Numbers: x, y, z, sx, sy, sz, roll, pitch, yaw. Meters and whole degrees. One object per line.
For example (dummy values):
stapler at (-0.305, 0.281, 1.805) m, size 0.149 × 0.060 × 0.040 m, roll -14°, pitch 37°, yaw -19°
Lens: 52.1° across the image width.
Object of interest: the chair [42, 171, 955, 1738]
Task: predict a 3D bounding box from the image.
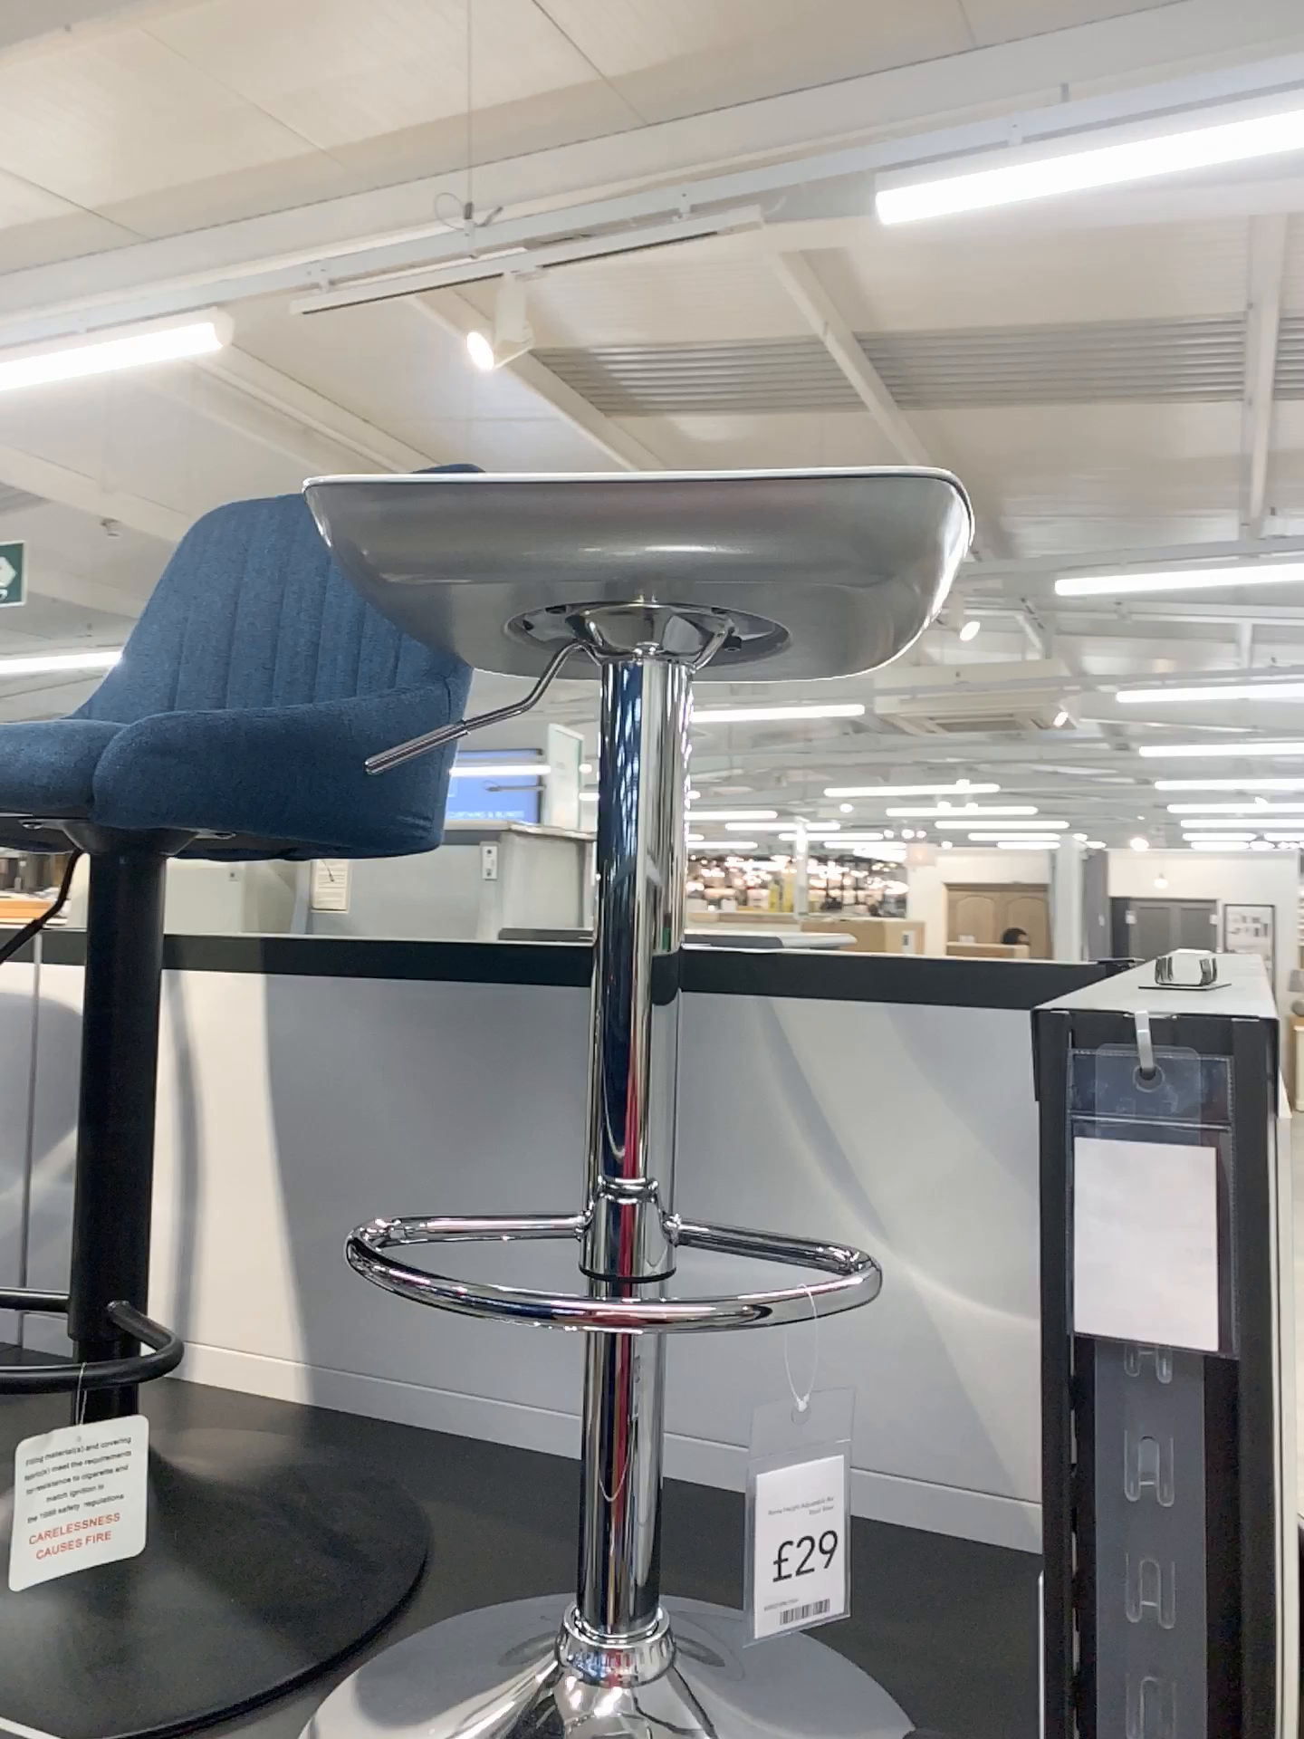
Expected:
chair at (-0.034, 0.105, 0.796) m, size 0.402 × 0.804 × 0.402 m, roll 1°, pitch -3°, yaw 14°

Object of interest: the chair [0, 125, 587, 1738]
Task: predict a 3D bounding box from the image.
chair at (-0.396, 0.051, 0.998) m, size 0.532 × 0.884 × 0.482 m, roll 0°, pitch -3°, yaw 19°
